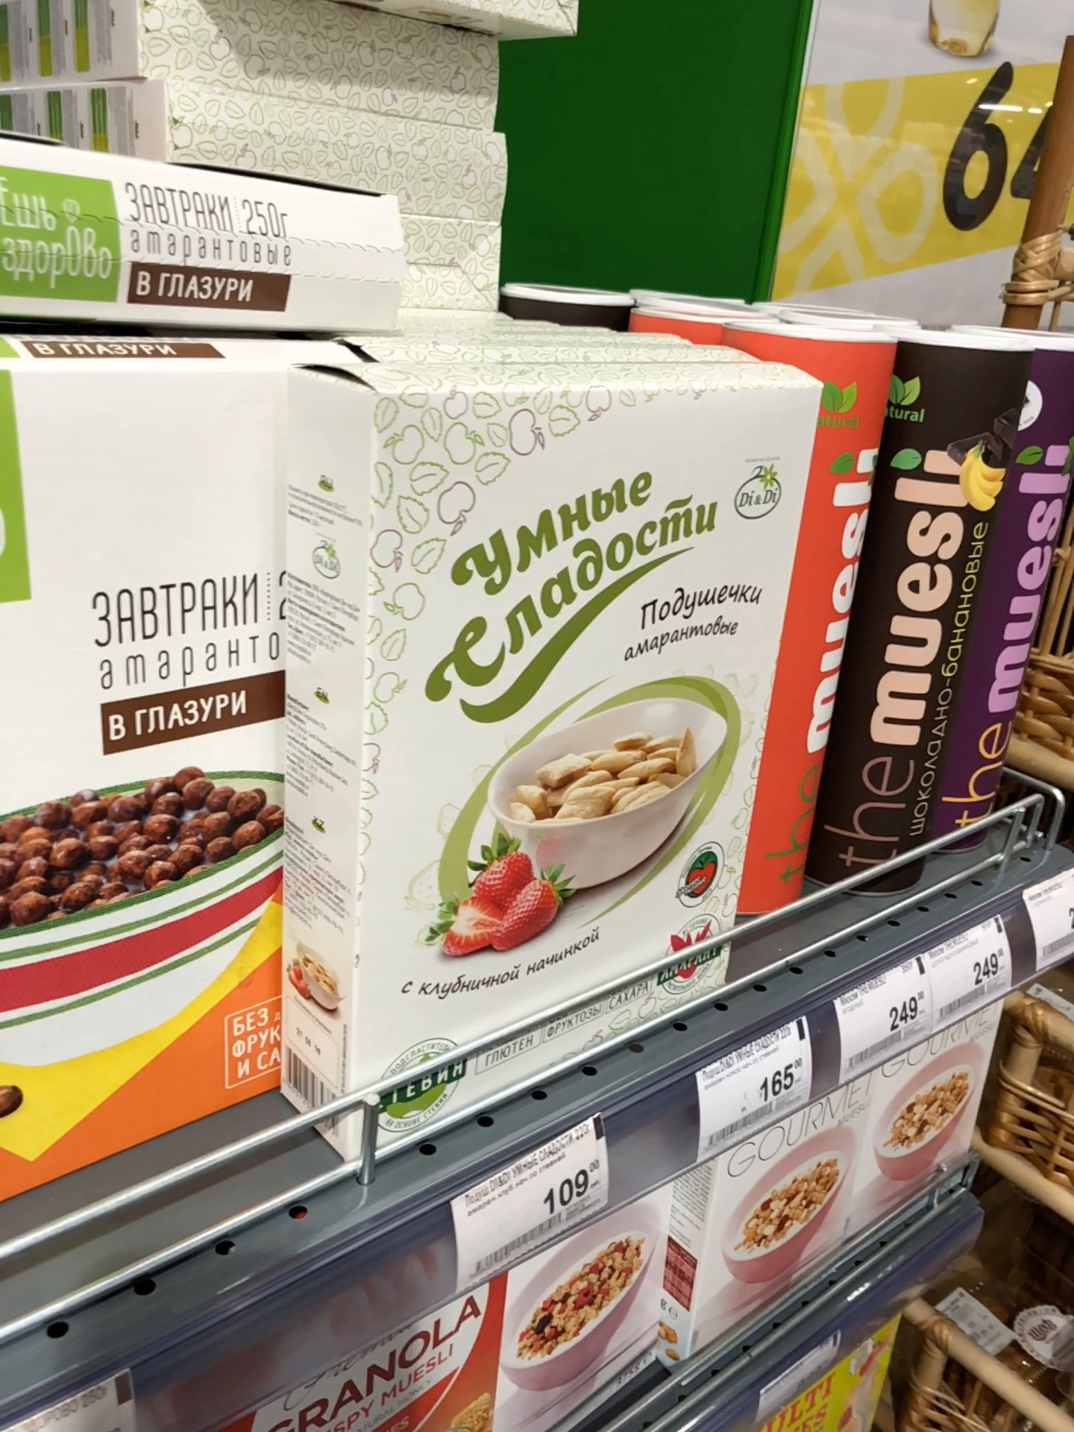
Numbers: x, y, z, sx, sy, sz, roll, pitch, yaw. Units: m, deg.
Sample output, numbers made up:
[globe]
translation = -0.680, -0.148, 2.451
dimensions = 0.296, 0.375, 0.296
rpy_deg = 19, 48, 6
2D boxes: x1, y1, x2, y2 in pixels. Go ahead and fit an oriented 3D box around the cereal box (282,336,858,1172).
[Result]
[cereal box]
translation = 0.011, 0.004, 0.423
dimensions = 0.200, 0.259, 0.050
rpy_deg = -13, 27, -38
